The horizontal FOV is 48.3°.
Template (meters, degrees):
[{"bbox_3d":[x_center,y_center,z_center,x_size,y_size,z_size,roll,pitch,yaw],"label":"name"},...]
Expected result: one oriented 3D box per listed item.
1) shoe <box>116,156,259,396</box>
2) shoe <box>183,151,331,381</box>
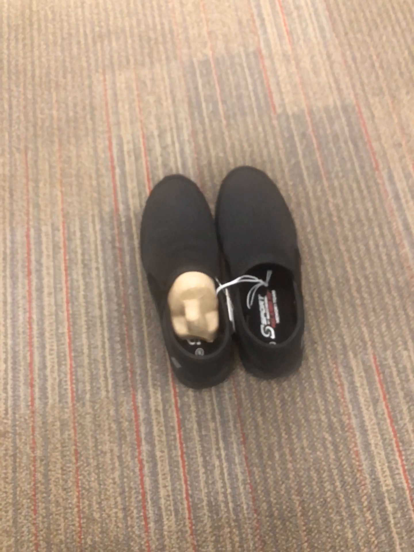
[{"bbox_3d":[-0.026,0.002,0.567,0.116,0.105,0.257,-11,71,-2],"label":"shoe"},{"bbox_3d":[0.052,-0.010,0.572,0.120,0.109,0.247,-10,71,-1],"label":"shoe"}]
